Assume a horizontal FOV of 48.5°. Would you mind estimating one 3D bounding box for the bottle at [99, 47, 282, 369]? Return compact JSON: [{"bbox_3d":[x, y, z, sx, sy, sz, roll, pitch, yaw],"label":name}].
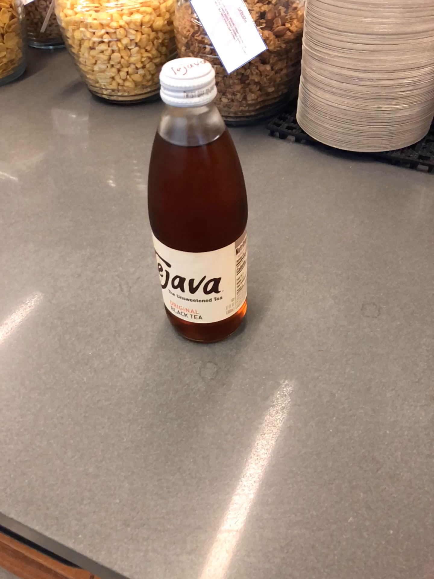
[{"bbox_3d":[-0.009,-0.042,0.315,0.070,0.189,0.070,-1,45,1],"label":"bottle"}]
